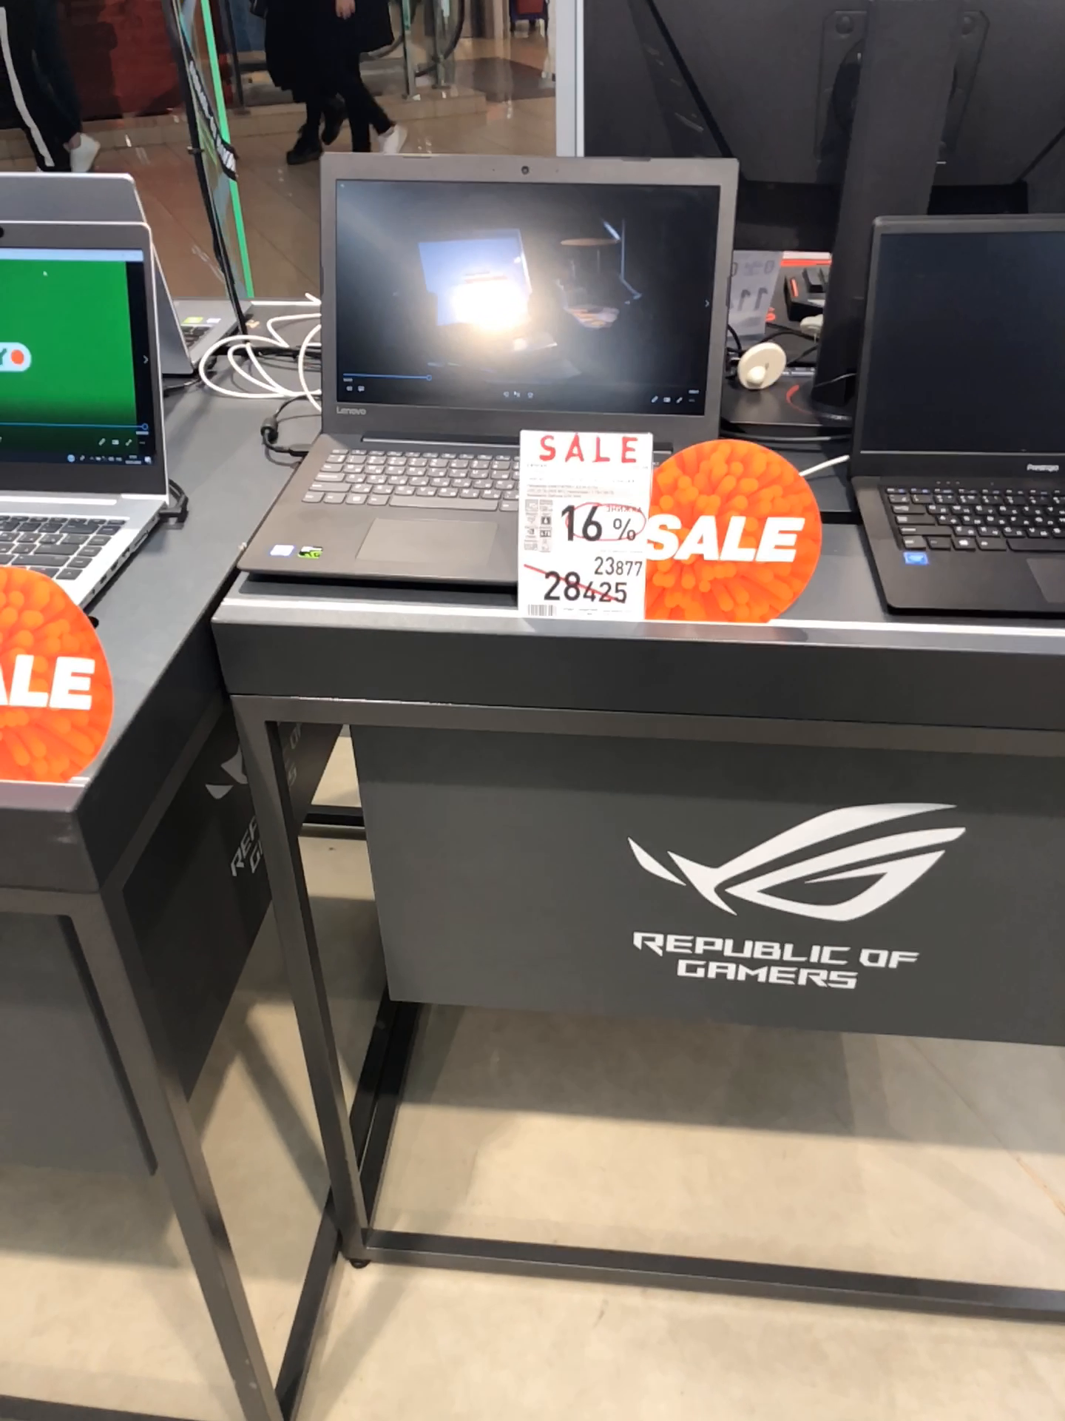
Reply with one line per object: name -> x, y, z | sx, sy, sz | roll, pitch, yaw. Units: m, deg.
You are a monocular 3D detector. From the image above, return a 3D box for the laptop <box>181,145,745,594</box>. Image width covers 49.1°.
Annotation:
laptop -> -0.026, -0.301, 0.976 | 0.382, 0.235, 0.336 | 4, 38, 7
